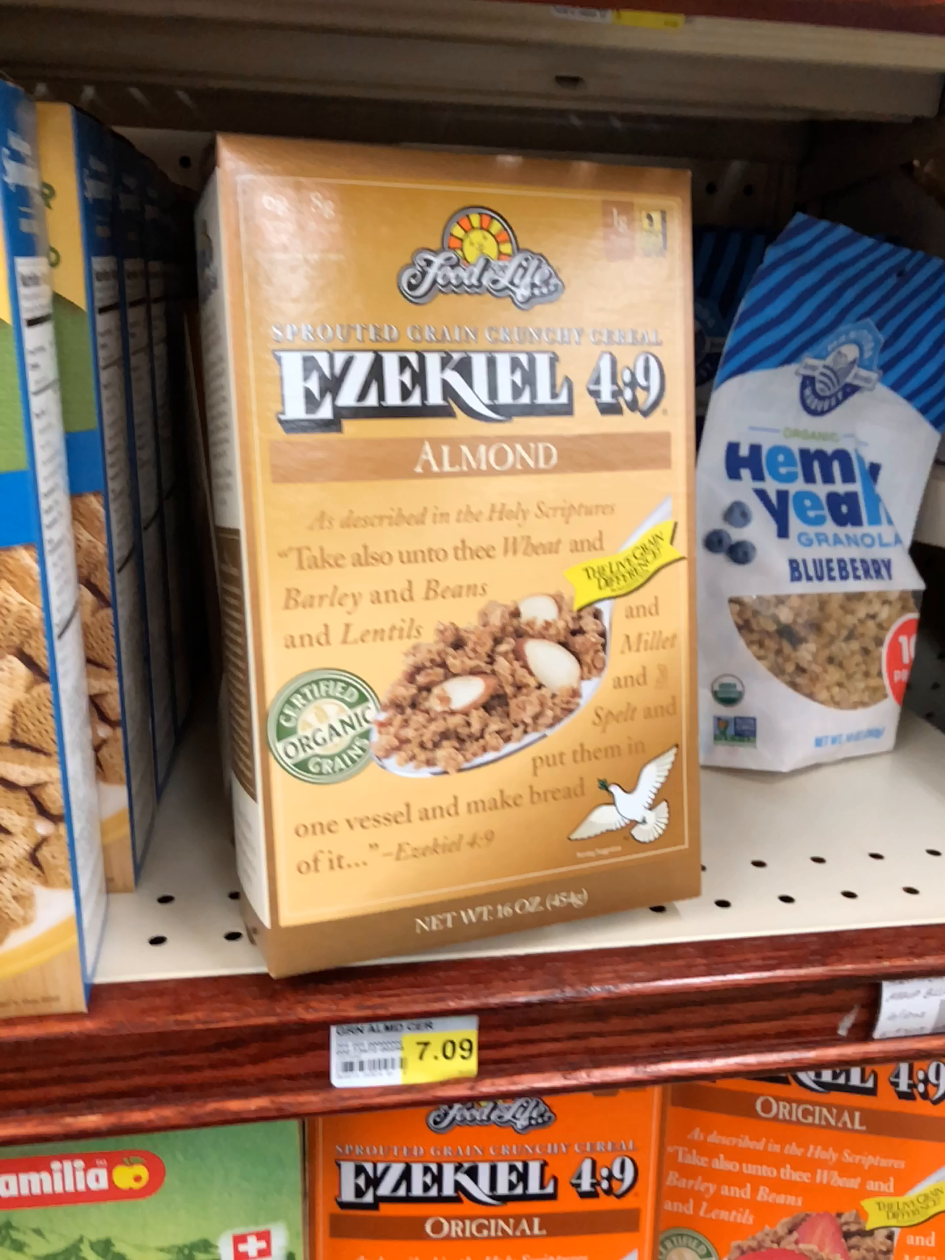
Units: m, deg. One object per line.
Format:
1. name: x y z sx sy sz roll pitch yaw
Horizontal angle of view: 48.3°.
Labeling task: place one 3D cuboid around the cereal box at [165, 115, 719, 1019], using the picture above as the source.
1. cereal box: -0.007 -0.018 0.307 0.140 0.220 0.060 -5 8 -19
